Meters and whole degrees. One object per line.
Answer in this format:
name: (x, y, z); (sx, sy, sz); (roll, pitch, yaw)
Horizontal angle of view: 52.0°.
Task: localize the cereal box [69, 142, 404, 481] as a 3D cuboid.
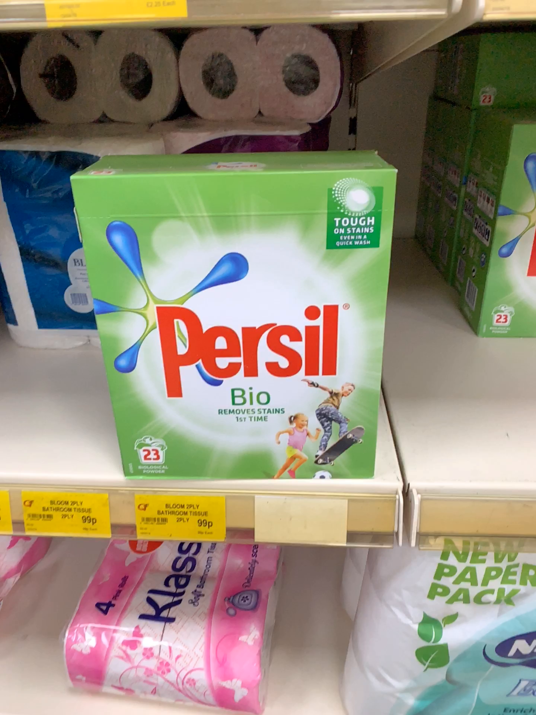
cereal box: (-0.015, -0.030, 0.421); (0.200, 0.238, 0.091); (-1, 27, 2)
